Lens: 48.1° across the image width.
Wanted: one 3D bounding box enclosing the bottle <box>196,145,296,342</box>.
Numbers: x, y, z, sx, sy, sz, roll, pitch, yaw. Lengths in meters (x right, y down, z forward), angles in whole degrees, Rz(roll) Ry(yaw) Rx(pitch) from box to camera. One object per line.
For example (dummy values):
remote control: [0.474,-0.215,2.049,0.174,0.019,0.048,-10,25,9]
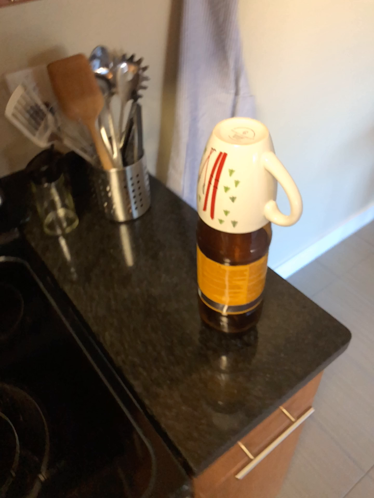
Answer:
bottle: [0.071,0.006,0.597,0.100,0.279,0.100,-1,43,1]
